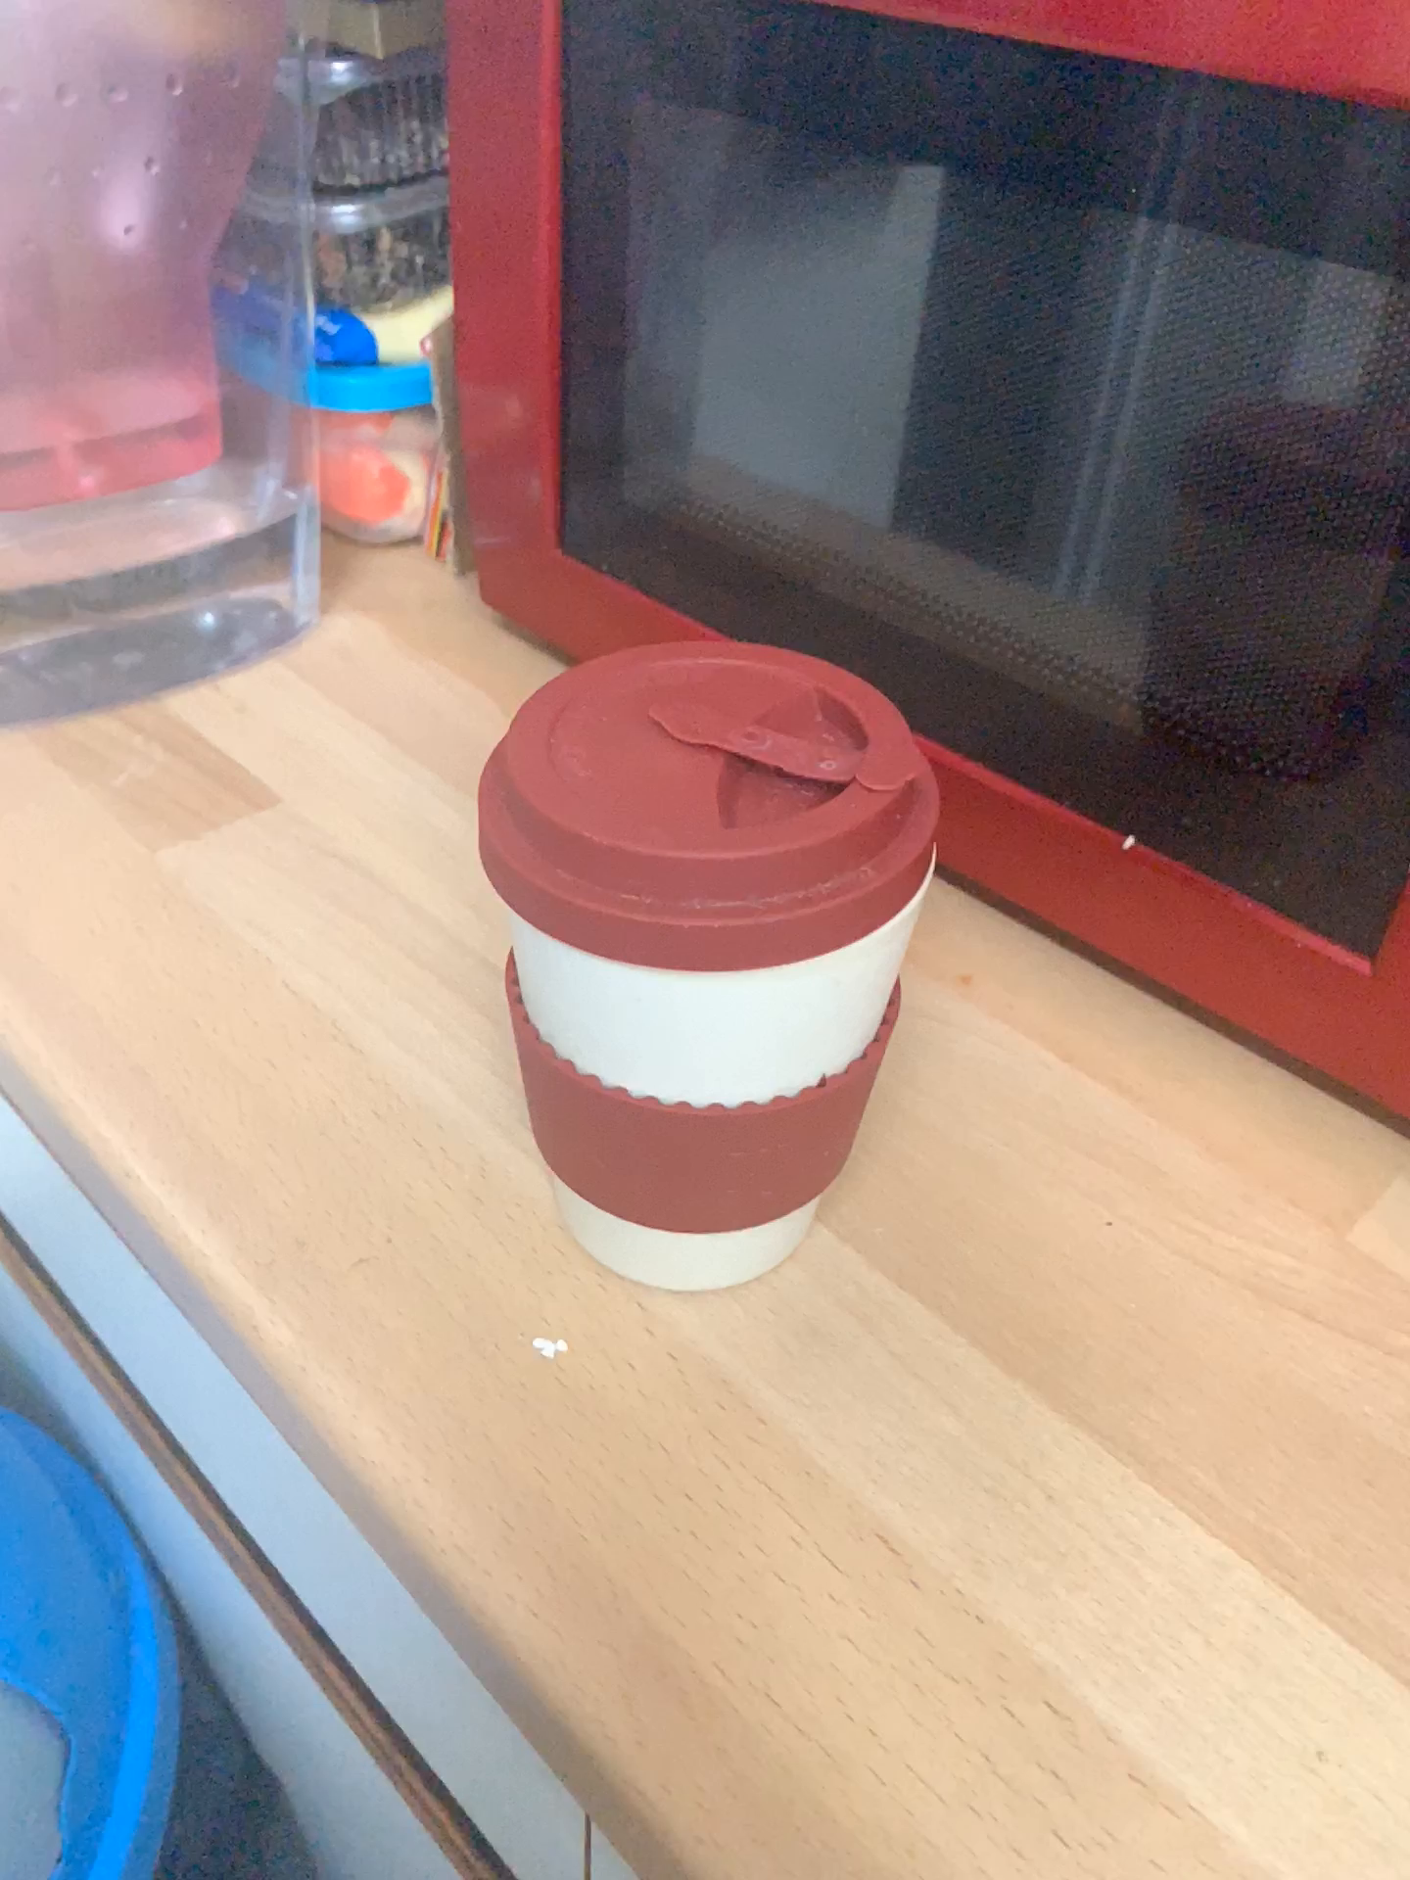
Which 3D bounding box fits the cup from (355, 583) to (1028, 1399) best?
[{"bbox_3d":[-0.005,0.007,0.301,0.088,0.115,0.087,2,39,-2],"label":"cup"}]
